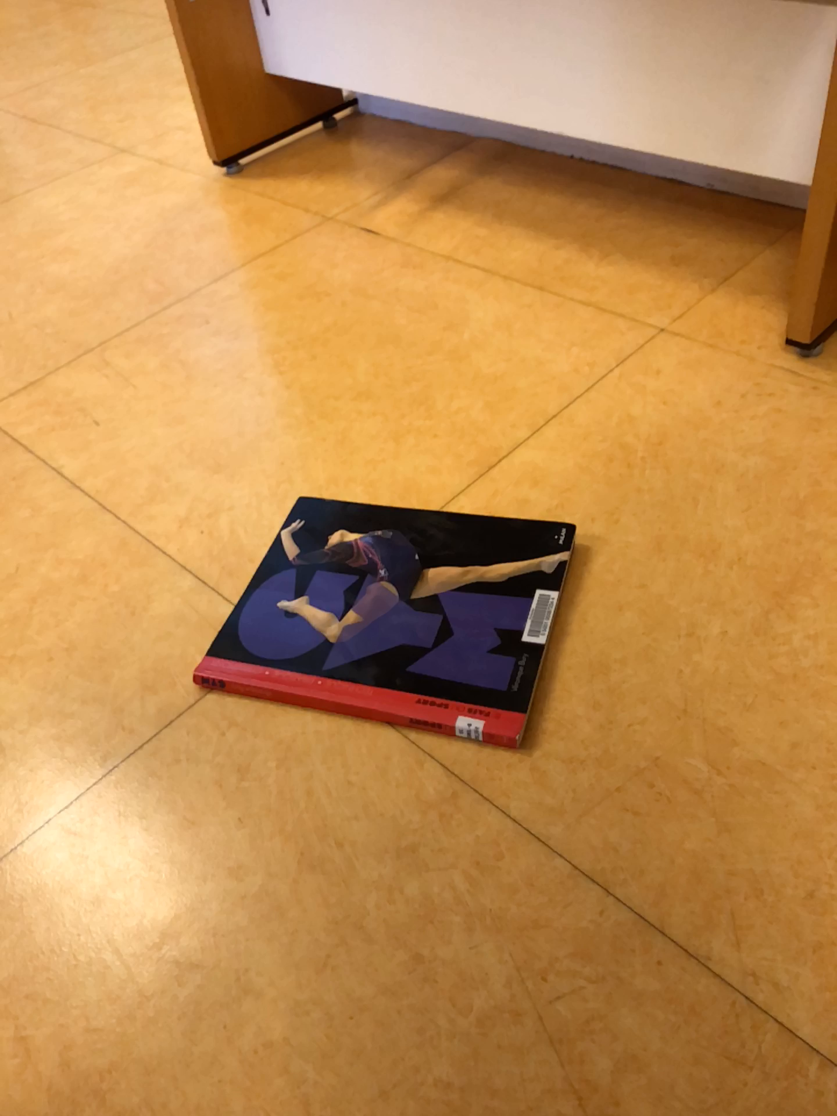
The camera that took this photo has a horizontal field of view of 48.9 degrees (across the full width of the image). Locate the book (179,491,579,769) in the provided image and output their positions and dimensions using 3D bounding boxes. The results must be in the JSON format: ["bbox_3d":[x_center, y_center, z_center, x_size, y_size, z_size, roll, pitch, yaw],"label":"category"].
[{"bbox_3d":[-0.020,0.038,0.656,0.233,0.030,0.194,7,47,18],"label":"book"}]
